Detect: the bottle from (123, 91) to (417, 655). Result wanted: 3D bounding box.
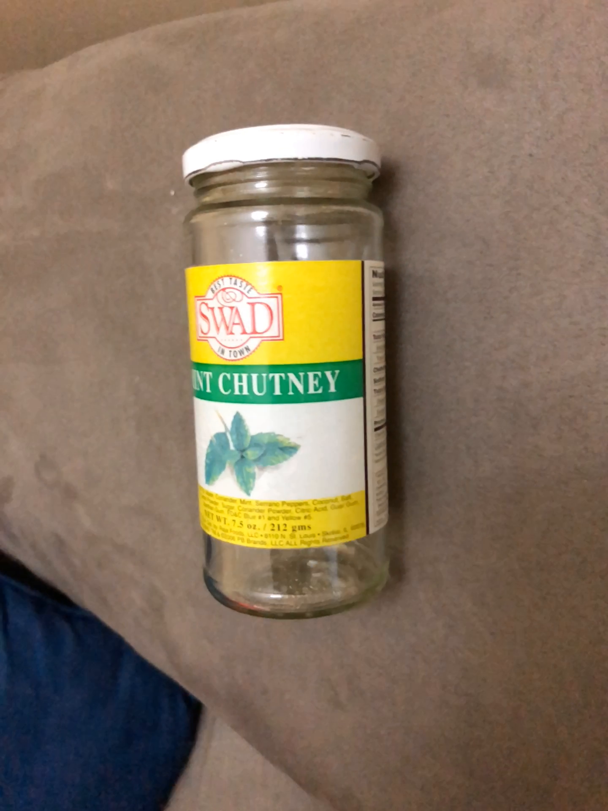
[{"bbox_3d":[-0.007,-0.009,0.200,0.057,0.056,0.133,5,102,37],"label":"bottle"}]
